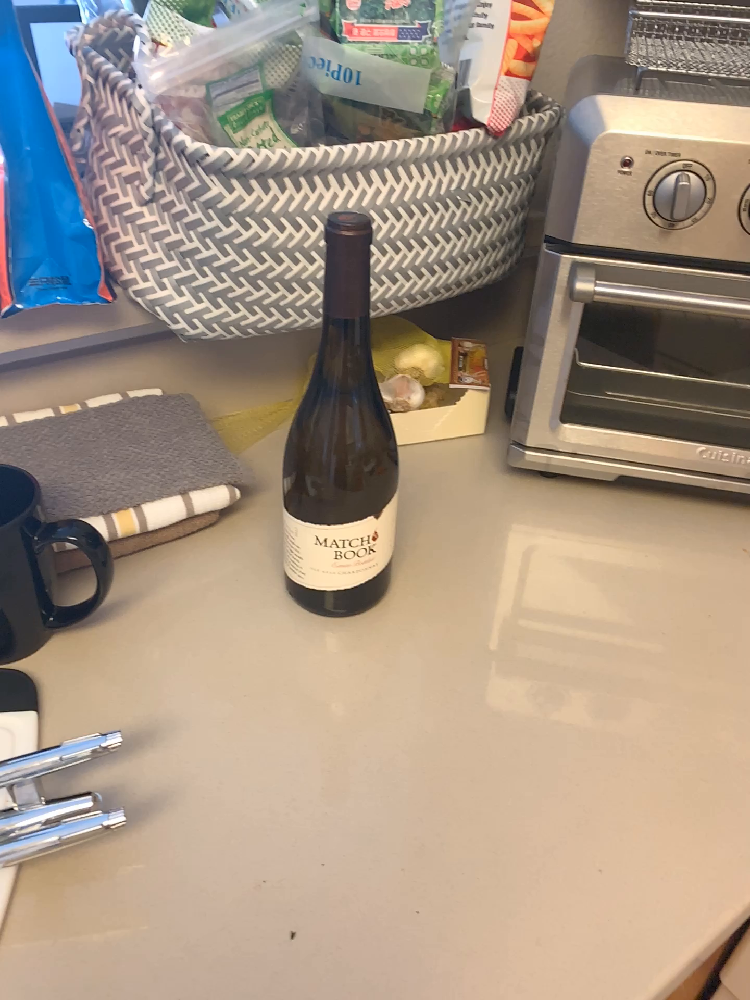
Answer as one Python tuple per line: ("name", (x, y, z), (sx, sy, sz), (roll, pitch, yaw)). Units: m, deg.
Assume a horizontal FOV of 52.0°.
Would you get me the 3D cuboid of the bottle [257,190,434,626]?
("bottle", (-0.028, -0.056, 0.547), (0.090, 0.288, 0.101), (-5, 36, -12))
